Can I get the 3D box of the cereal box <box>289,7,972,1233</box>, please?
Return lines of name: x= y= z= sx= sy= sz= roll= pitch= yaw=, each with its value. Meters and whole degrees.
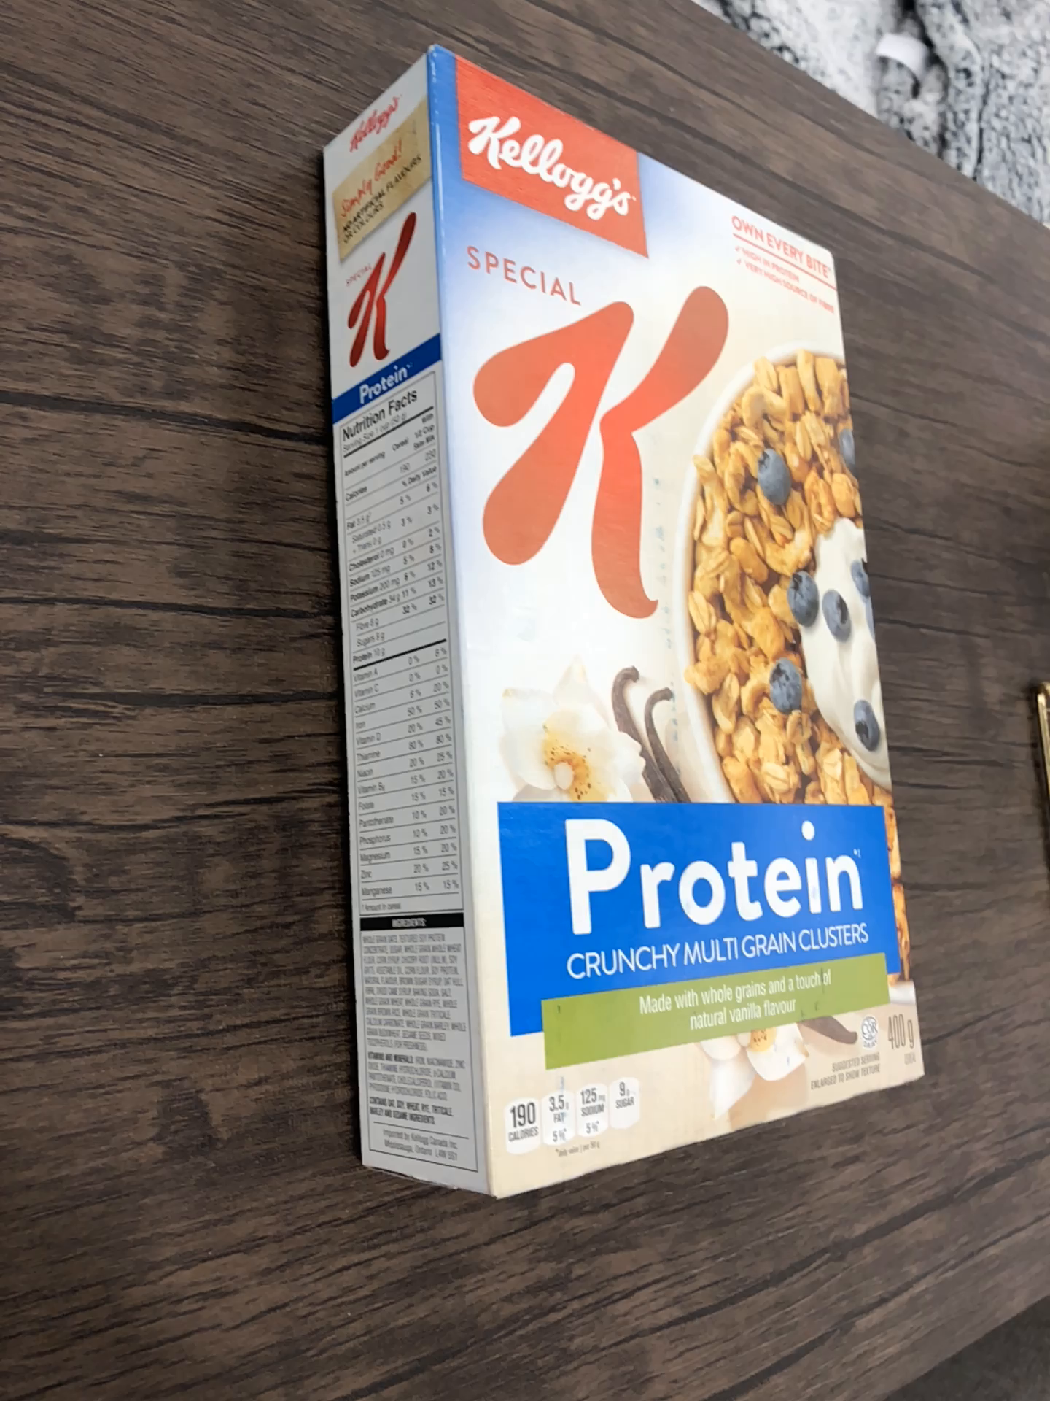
cereal box: x=0.034 y=-0.019 z=0.318 sx=0.181 sy=0.050 sz=0.260 roll=4 pitch=77 yaw=-40
